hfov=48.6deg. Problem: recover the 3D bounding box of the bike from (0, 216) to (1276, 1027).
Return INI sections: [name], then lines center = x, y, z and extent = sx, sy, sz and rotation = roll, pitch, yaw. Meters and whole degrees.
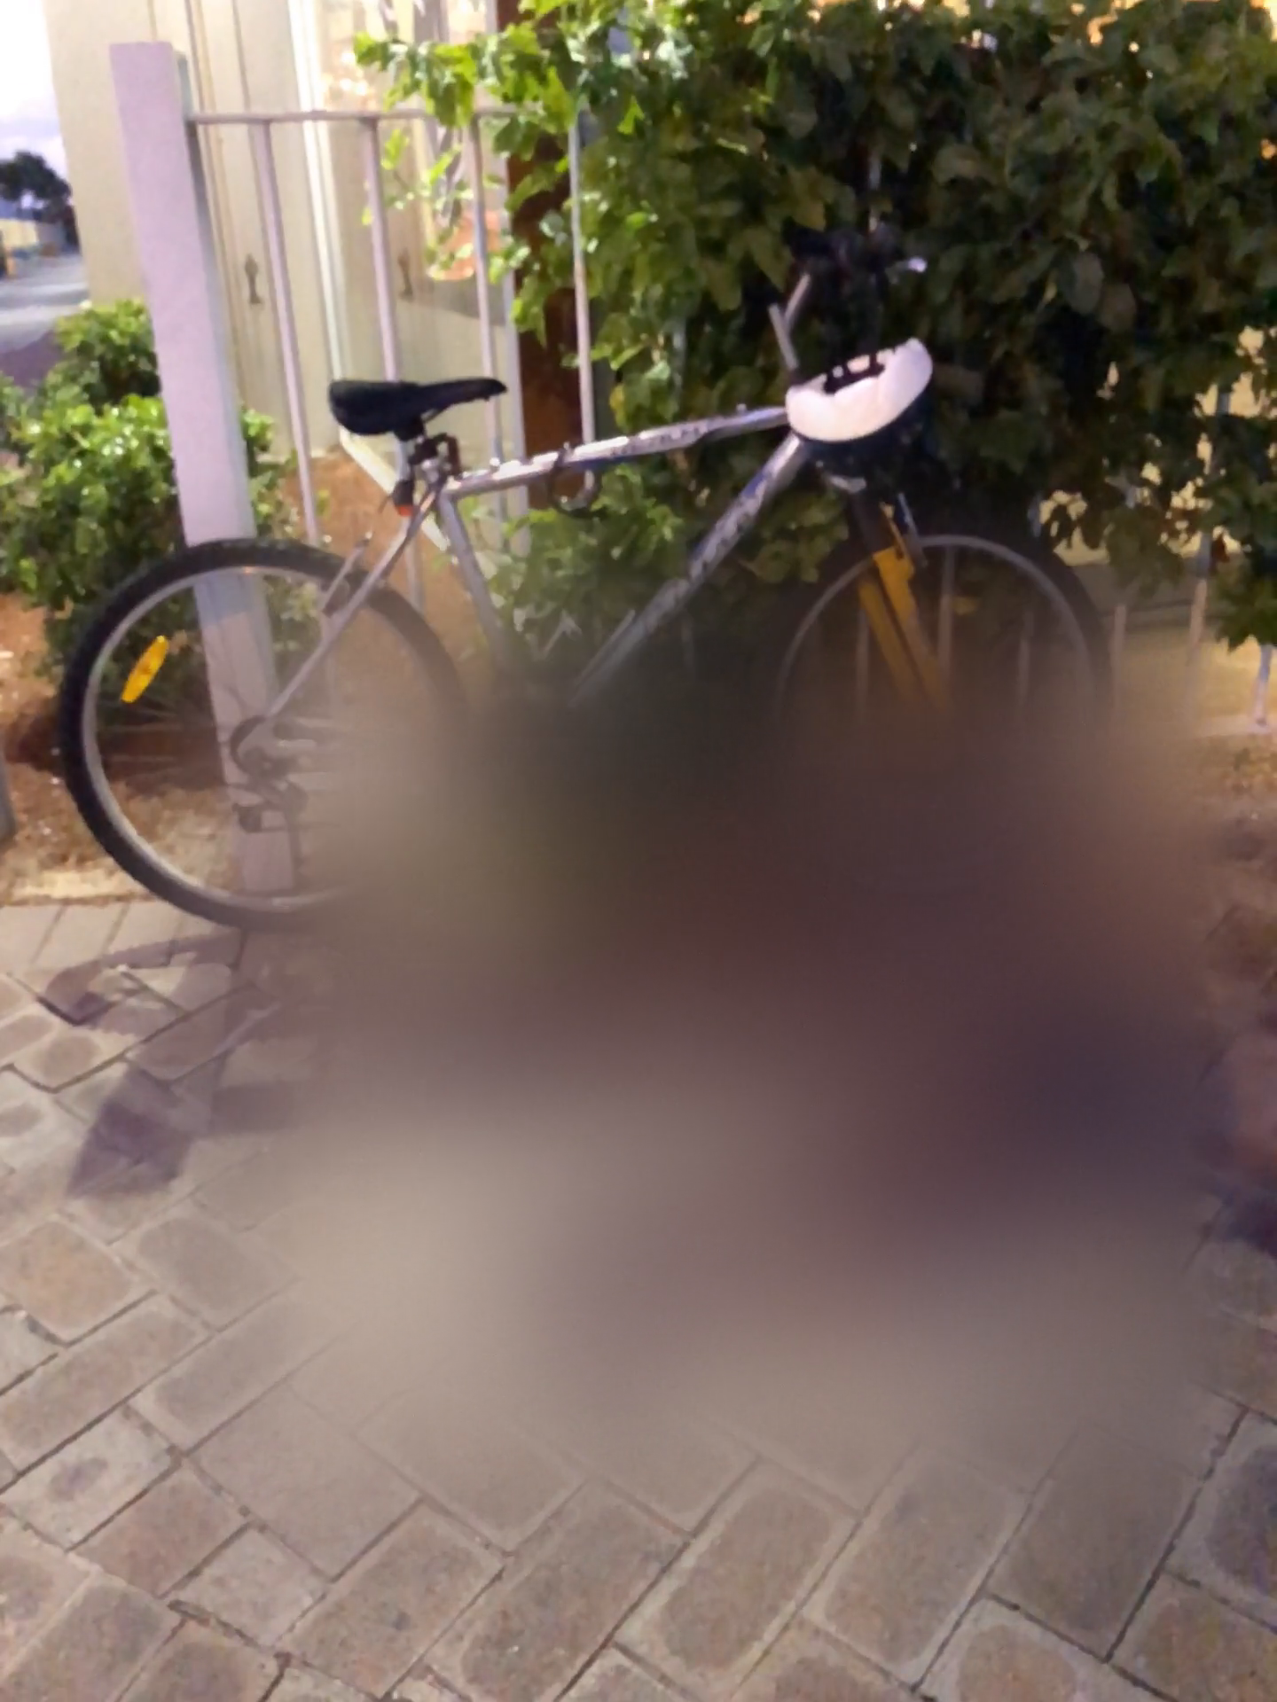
[bike]
center = -0.053, -0.369, 2.122
extent = 1.692, 0.995, 0.554
rotation = -4, 23, -3
